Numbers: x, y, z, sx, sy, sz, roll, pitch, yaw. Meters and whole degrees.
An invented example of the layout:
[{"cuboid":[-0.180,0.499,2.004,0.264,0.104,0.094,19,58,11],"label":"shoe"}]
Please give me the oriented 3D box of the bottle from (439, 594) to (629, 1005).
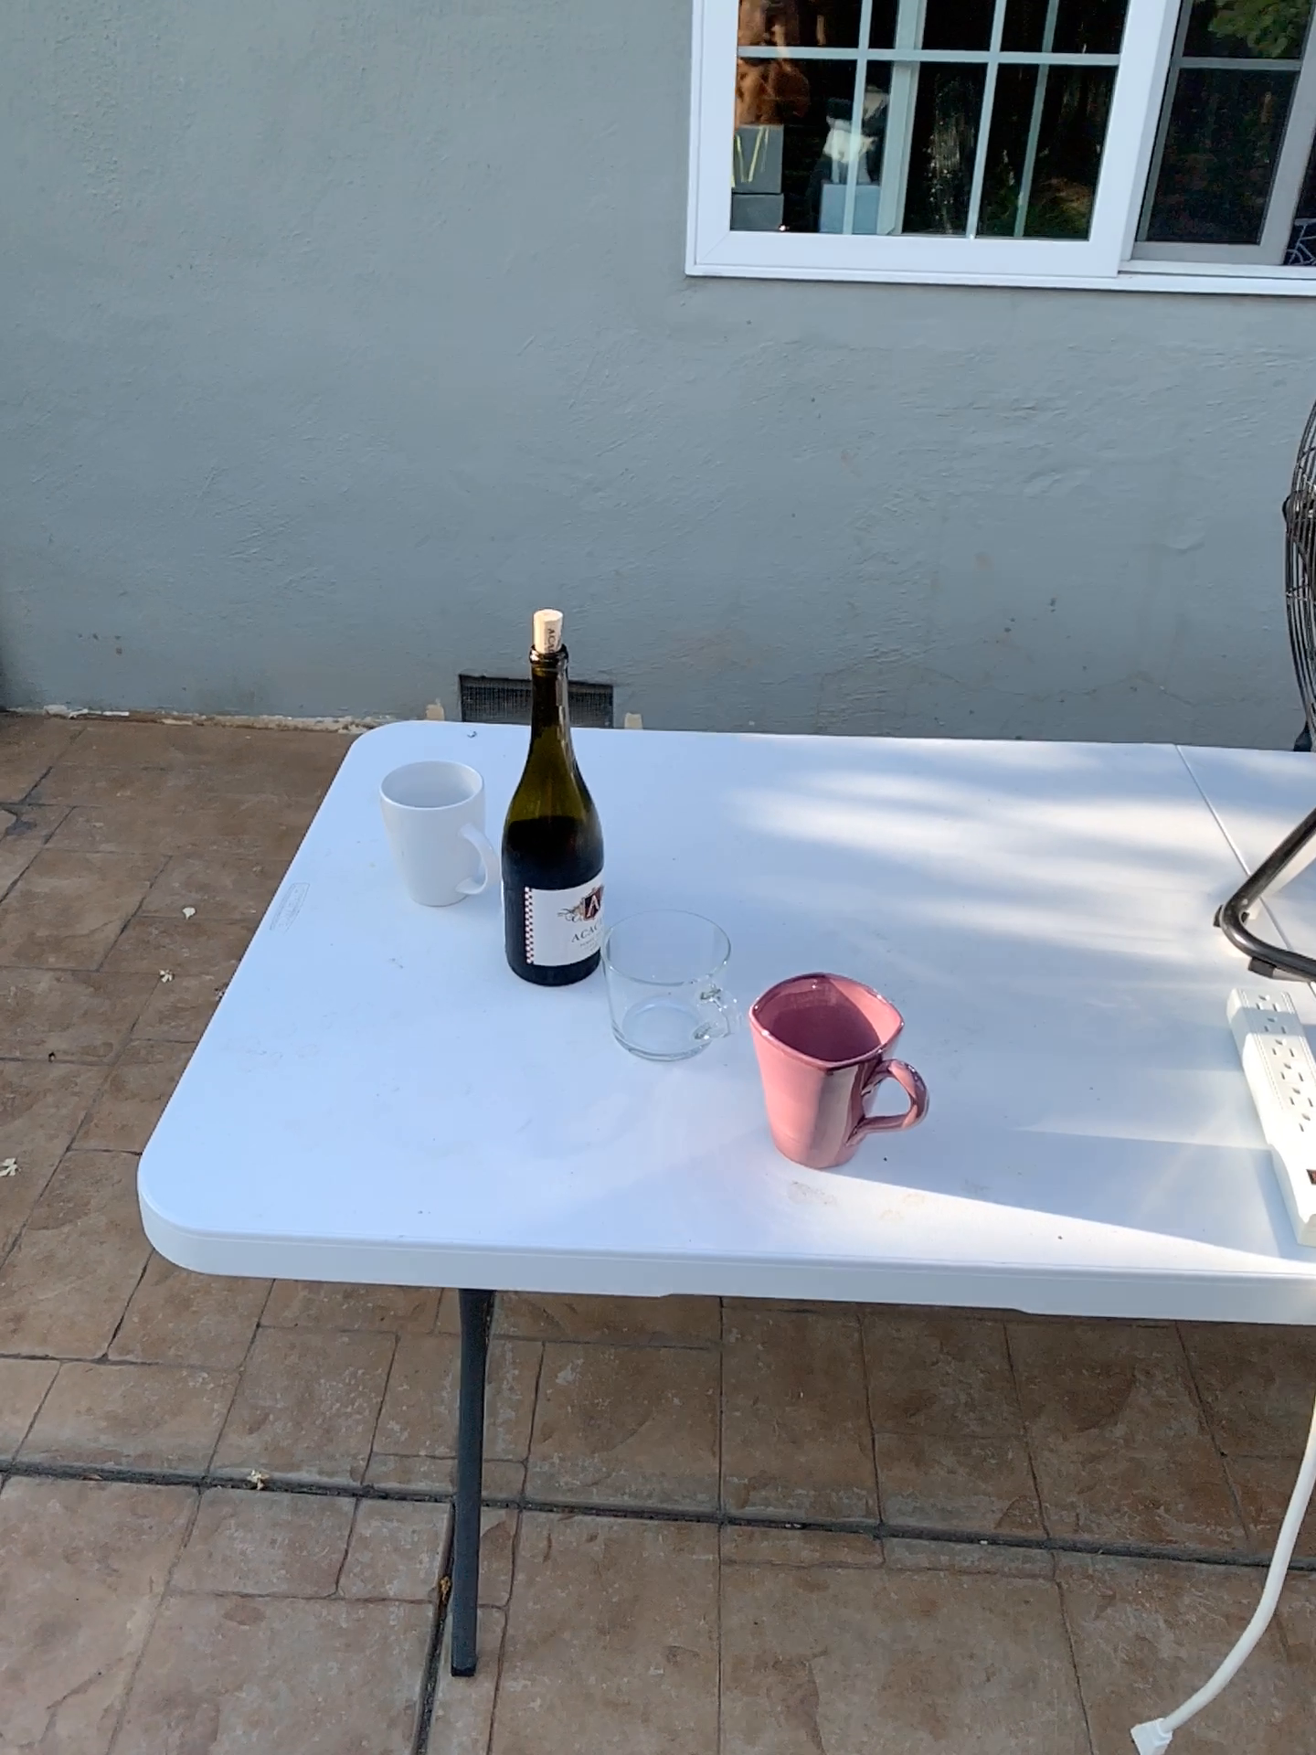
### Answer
[{"cuboid":[-0.097,-0.061,1.103,0.101,0.303,0.103,1,32,-1],"label":"bottle"}]
